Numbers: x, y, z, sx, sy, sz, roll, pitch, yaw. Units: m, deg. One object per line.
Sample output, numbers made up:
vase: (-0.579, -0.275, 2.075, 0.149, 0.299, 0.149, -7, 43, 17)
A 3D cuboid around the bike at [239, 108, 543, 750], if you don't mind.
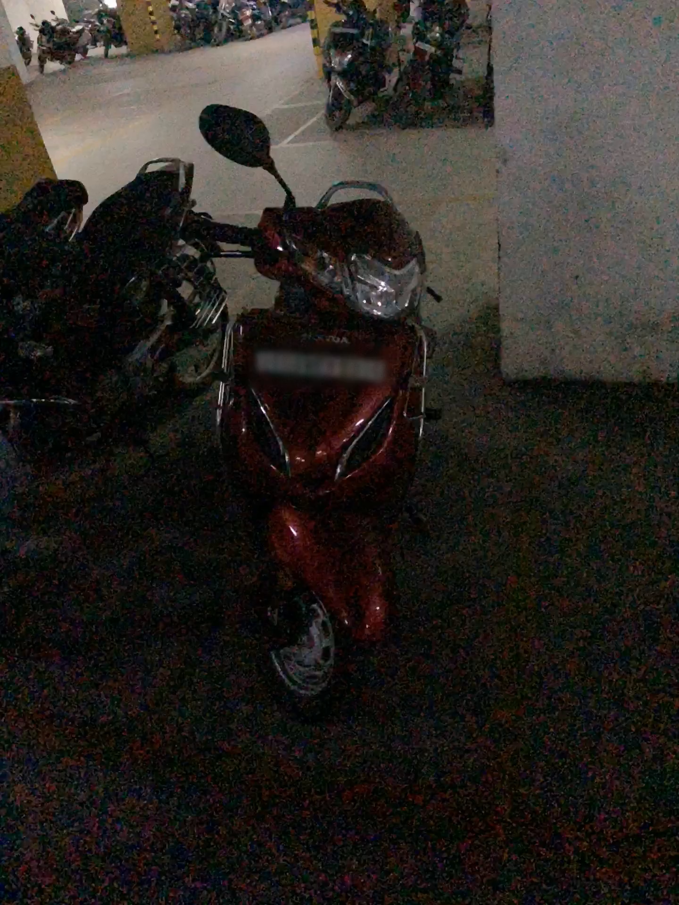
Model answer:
bike: (0.085, -0.155, 1.941, 0.487, 0.909, 1.397, -10, 44, 1)
